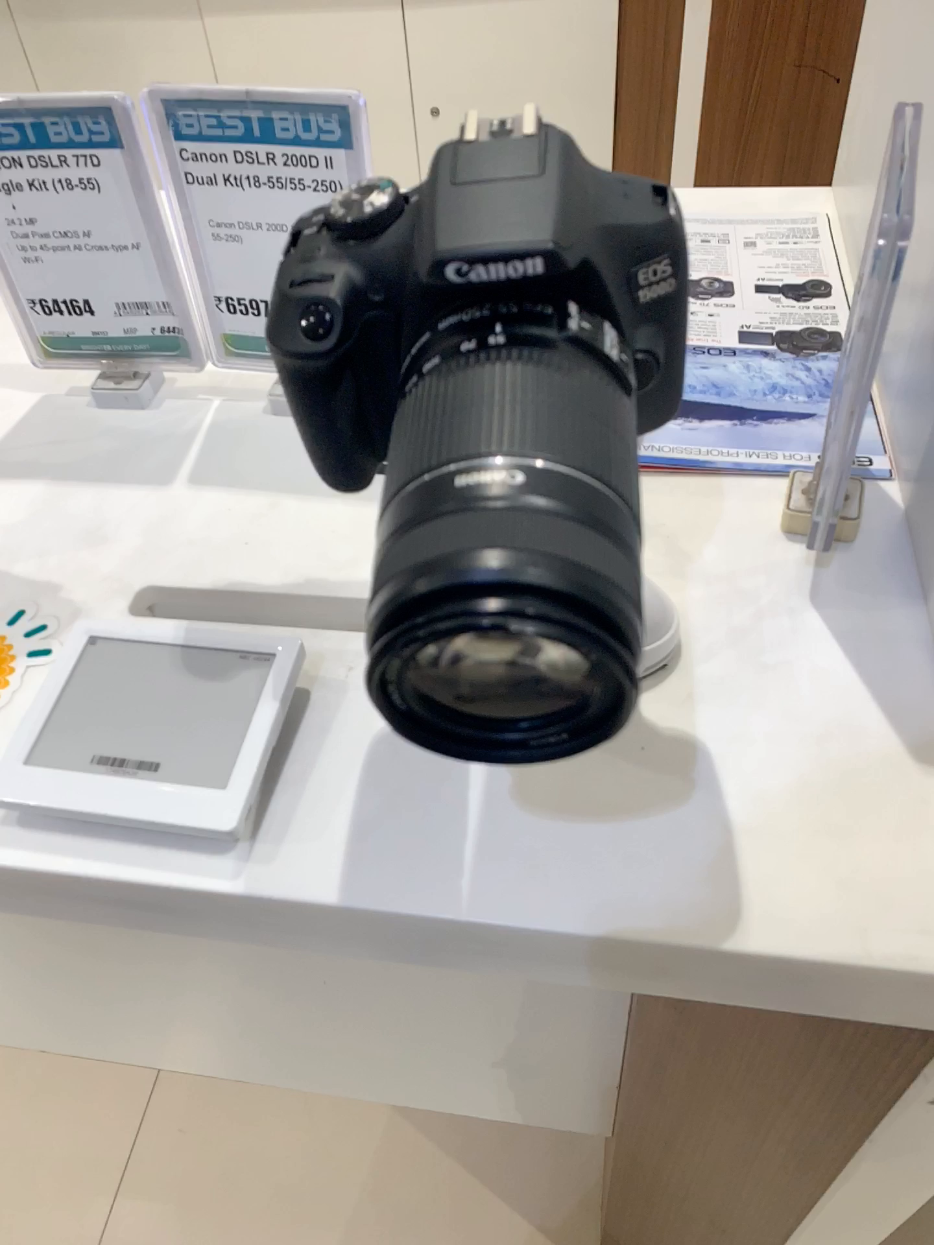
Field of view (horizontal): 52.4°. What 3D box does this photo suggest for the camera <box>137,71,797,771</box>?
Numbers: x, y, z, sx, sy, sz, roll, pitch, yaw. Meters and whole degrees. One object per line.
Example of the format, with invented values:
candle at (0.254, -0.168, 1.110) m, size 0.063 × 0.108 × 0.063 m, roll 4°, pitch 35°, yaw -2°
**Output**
camera at (0.004, -0.056, 0.252) m, size 0.117 × 0.090 × 0.164 m, roll -1°, pitch 55°, yaw 5°
